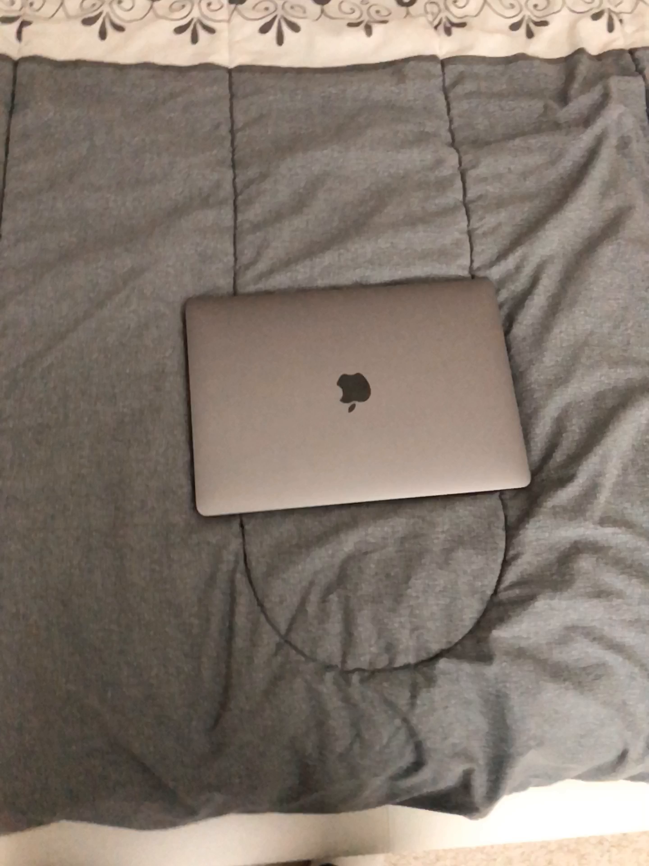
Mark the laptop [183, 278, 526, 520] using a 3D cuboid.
[{"bbox_3d":[0.024,-0.037,0.665,0.295,0.008,0.207,-5,75,-5],"label":"laptop"}]
